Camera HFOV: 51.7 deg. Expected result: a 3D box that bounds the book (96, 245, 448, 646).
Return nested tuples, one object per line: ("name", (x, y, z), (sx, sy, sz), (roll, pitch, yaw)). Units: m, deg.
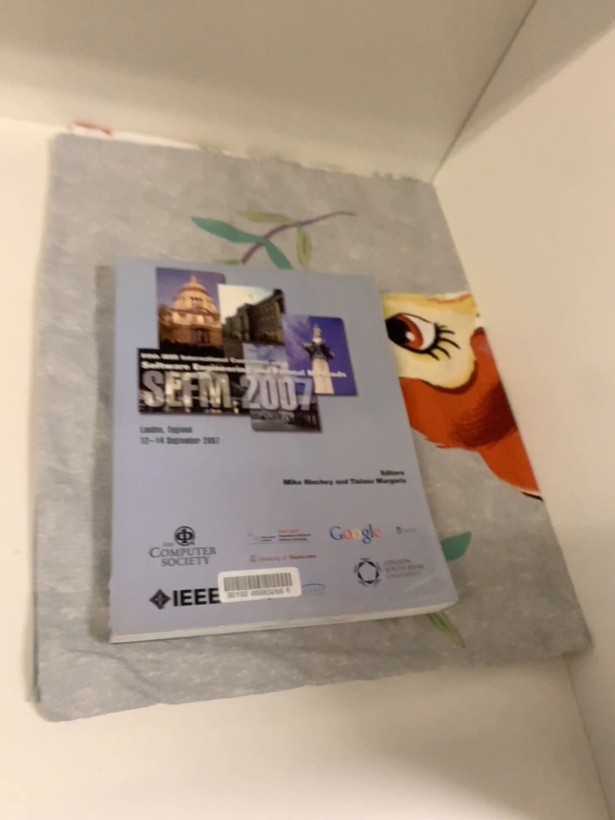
("book", (-0.033, 0.009, 0.445), (0.211, 0.030, 0.275), (2, 60, -18))
